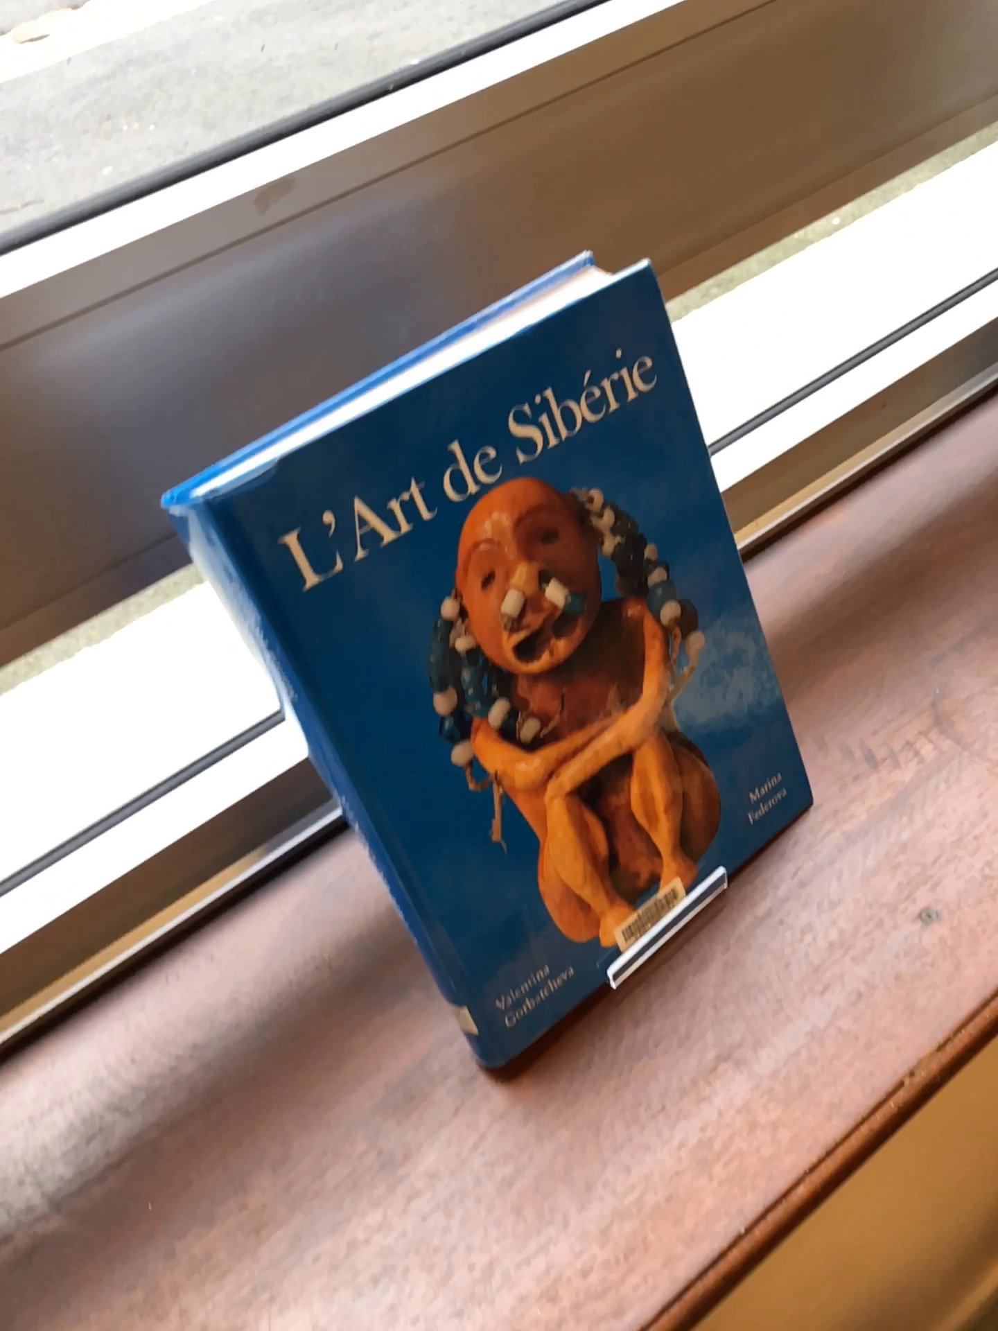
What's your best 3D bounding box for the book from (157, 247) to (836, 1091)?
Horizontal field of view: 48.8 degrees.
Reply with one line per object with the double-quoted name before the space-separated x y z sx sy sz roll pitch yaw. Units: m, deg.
"book" 0.030 0.010 0.564 0.254 0.349 0.044 -34 28 -19
